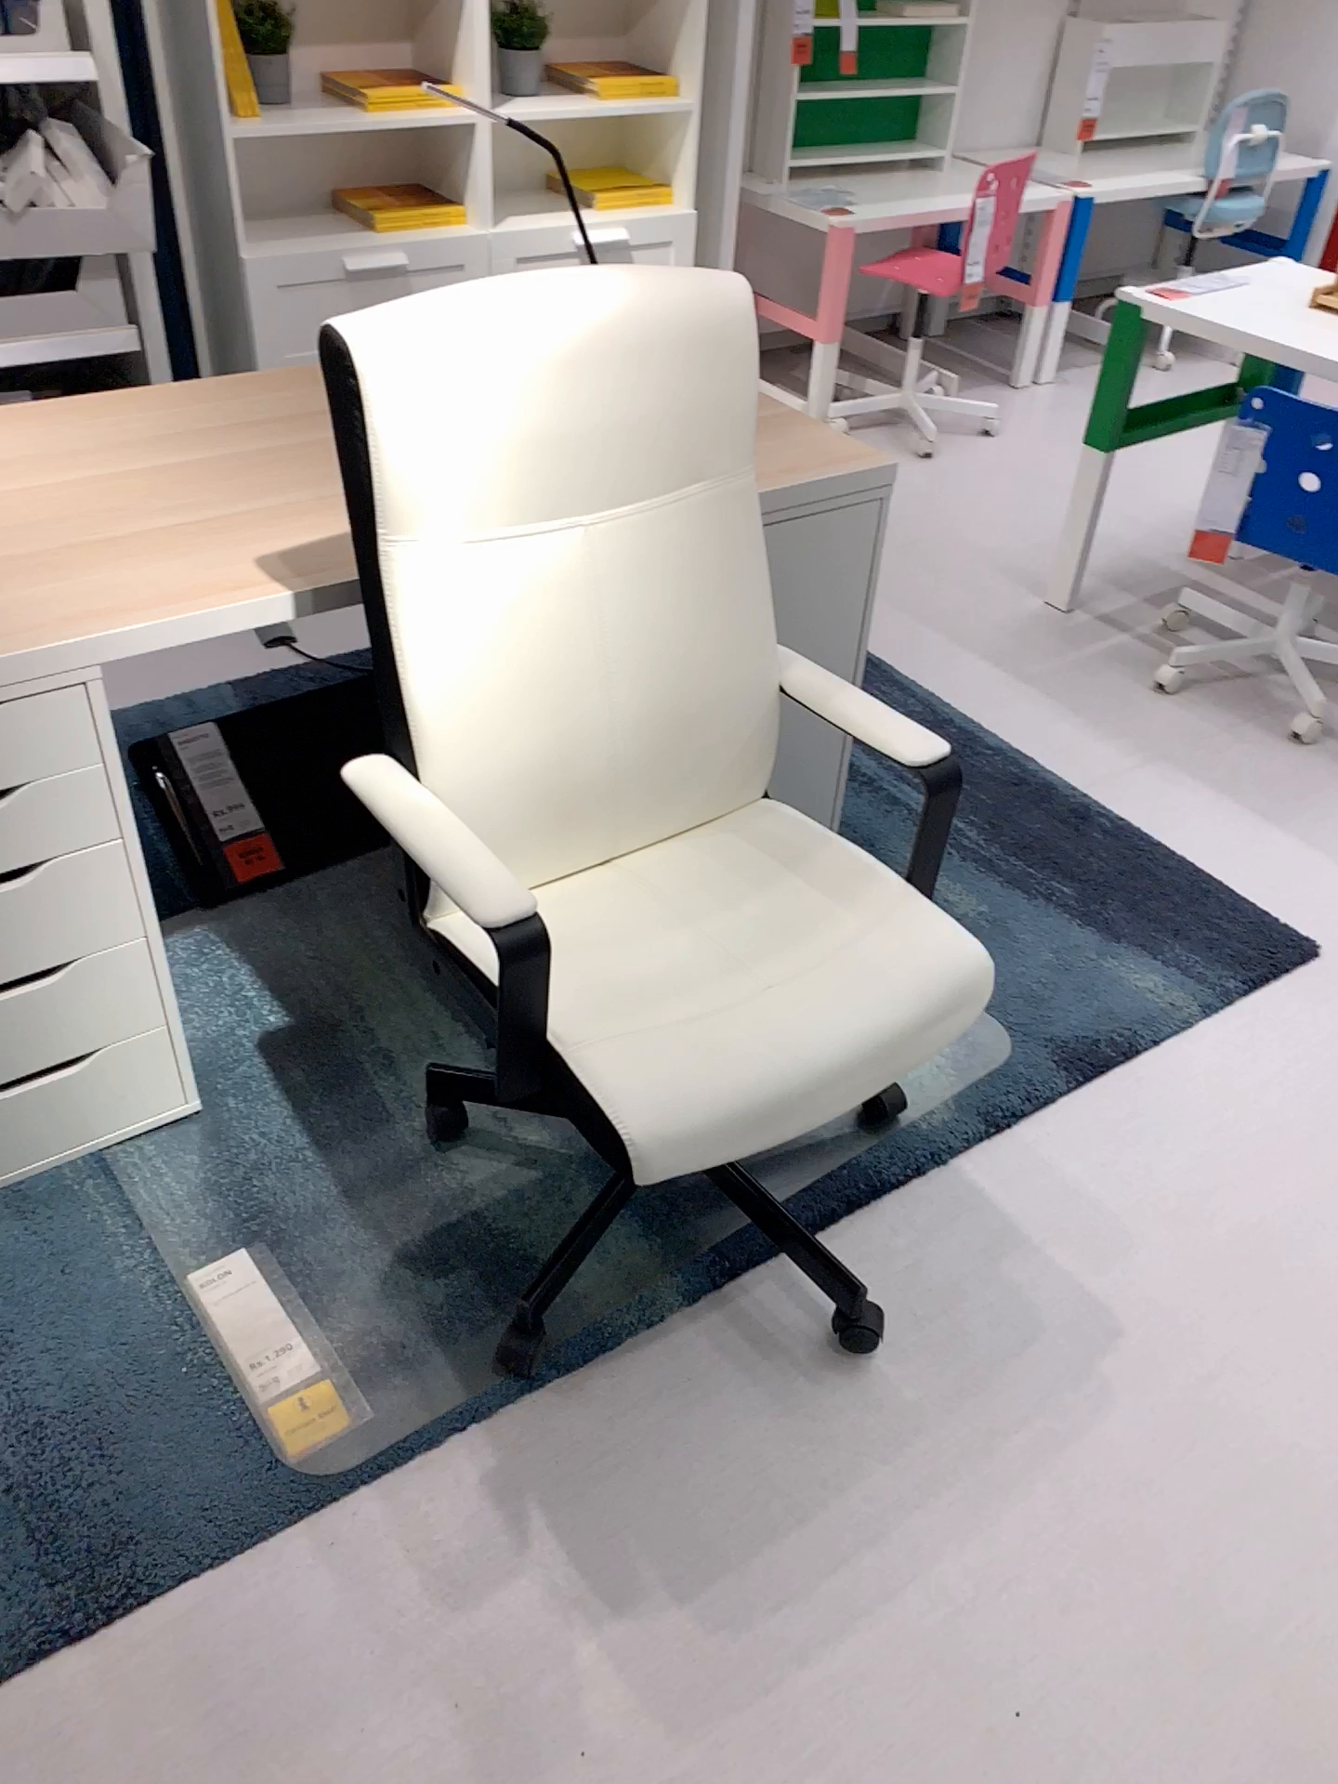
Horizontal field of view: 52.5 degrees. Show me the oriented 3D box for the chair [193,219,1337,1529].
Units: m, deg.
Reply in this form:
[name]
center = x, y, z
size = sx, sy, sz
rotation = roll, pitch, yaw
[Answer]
[chair]
center = 0.051, -0.061, 1.389
size = 0.691, 0.956, 0.702
rotation = -21, 45, -28
